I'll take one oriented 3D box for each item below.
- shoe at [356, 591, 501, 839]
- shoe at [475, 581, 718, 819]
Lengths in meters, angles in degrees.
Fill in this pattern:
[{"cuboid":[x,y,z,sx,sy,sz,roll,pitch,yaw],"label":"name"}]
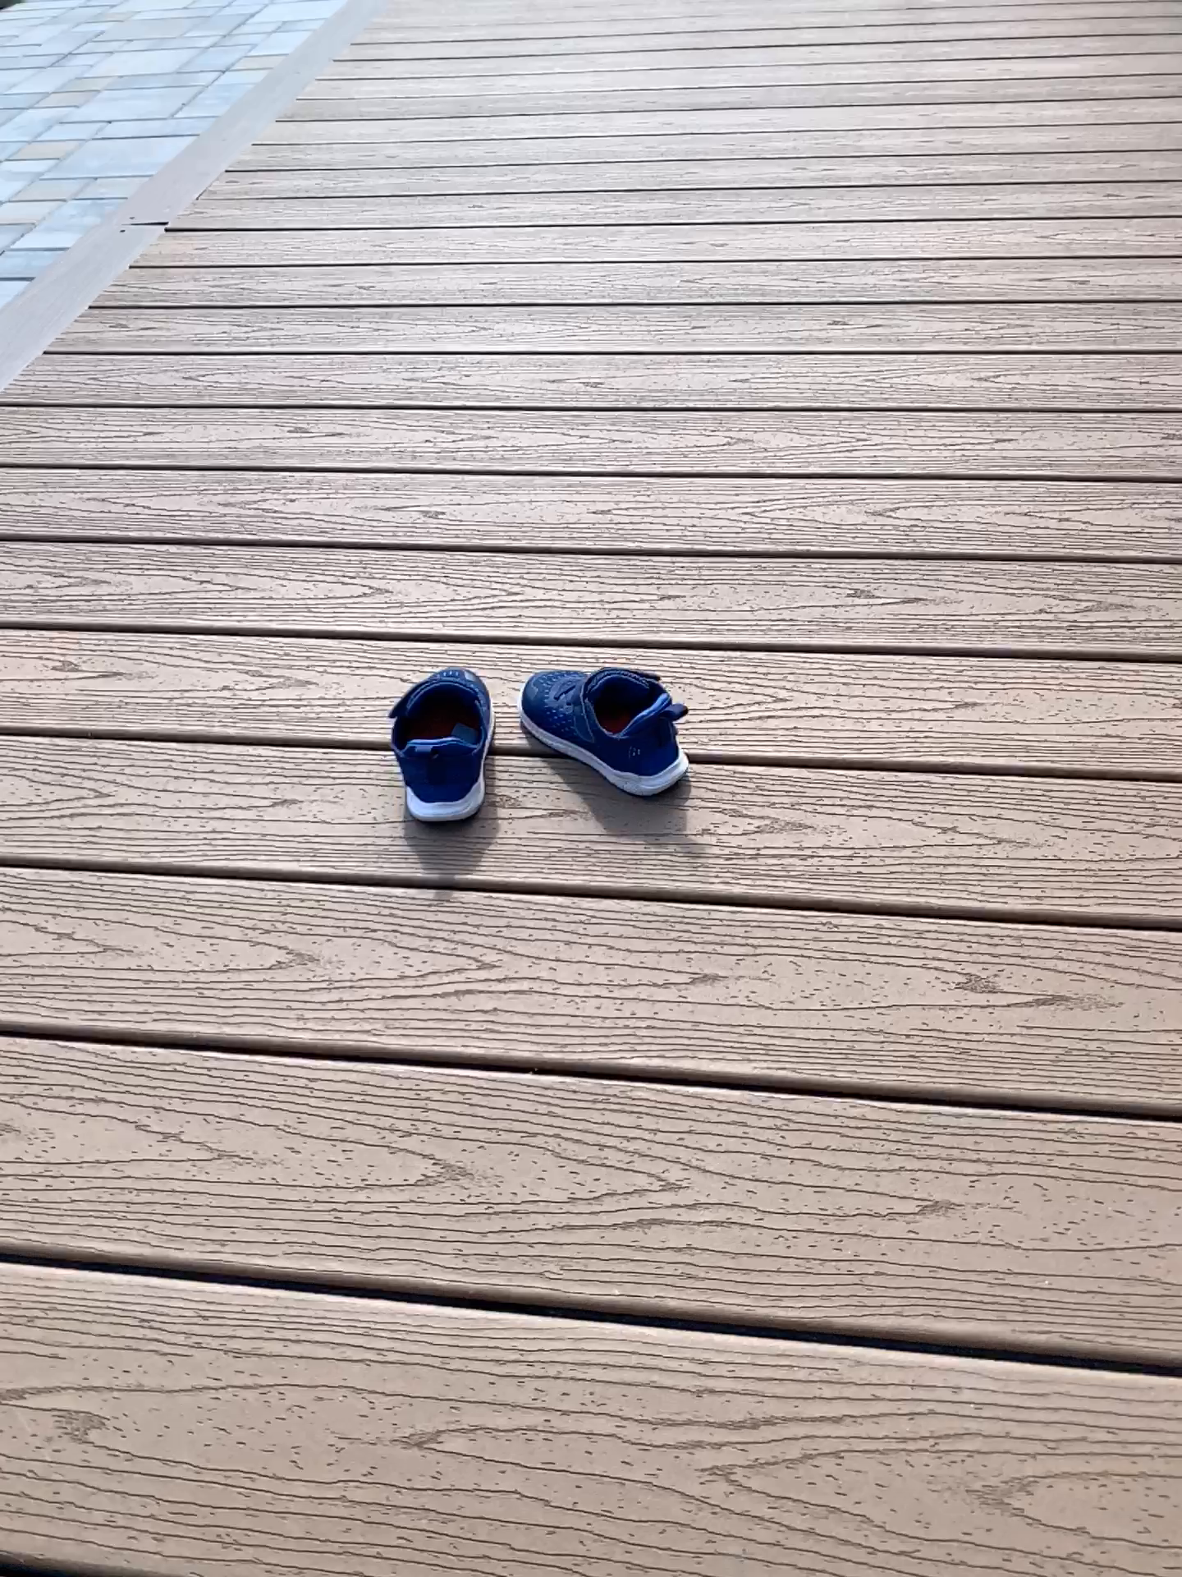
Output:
[{"cuboid":[-0.115,-0.058,0.890,0.080,0.090,0.171,-3,43,2],"label":"shoe"},{"cuboid":[0.004,-0.070,0.902,0.080,0.090,0.171,-36,51,-28],"label":"shoe"}]
